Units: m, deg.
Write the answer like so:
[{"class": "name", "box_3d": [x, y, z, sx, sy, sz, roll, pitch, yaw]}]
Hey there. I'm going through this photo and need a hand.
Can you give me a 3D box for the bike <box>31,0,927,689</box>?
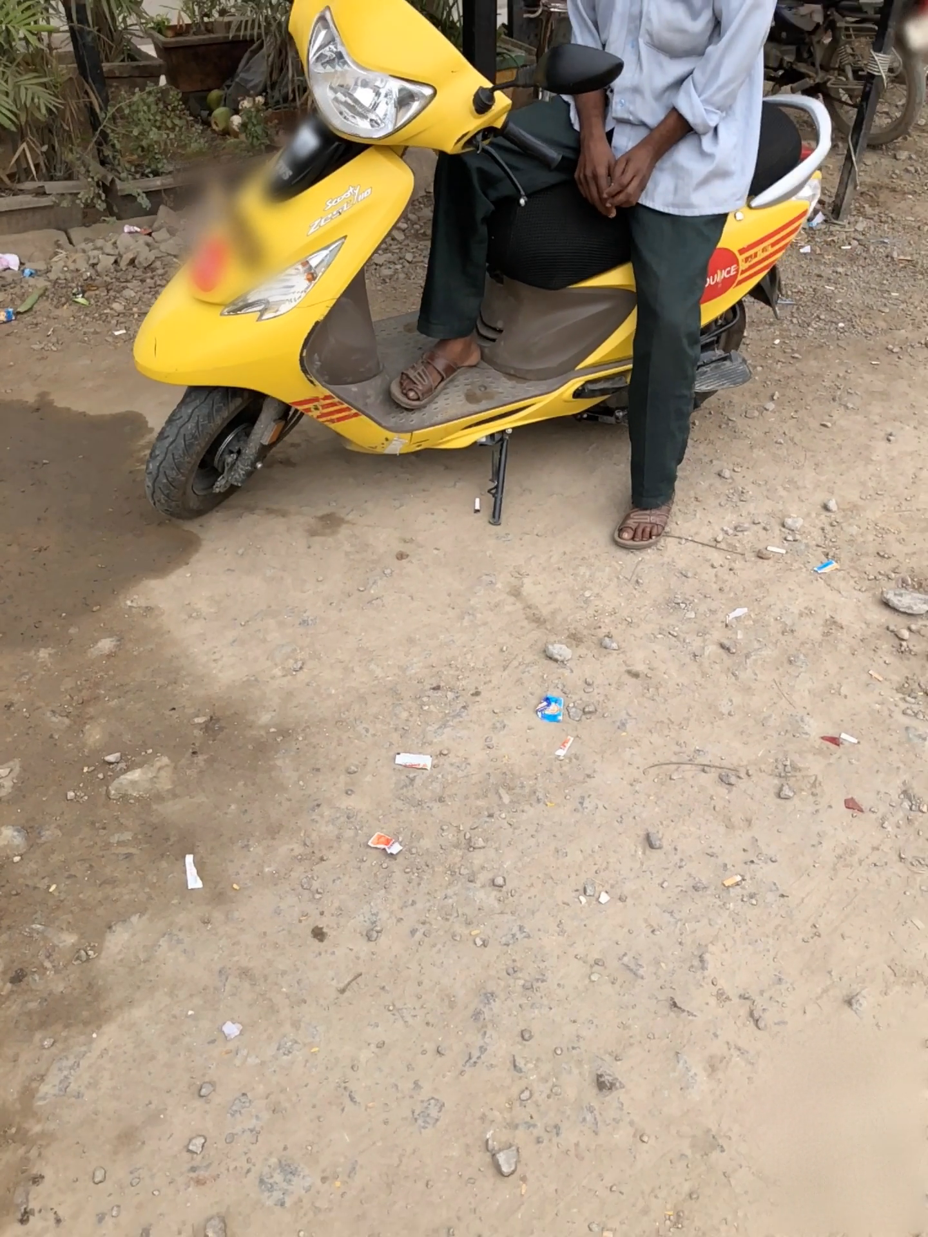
[{"class": "bike", "box_3d": [0.053, -0.800, 2.401, 1.657, 1.160, 0.892, -18, 44, -20]}]
